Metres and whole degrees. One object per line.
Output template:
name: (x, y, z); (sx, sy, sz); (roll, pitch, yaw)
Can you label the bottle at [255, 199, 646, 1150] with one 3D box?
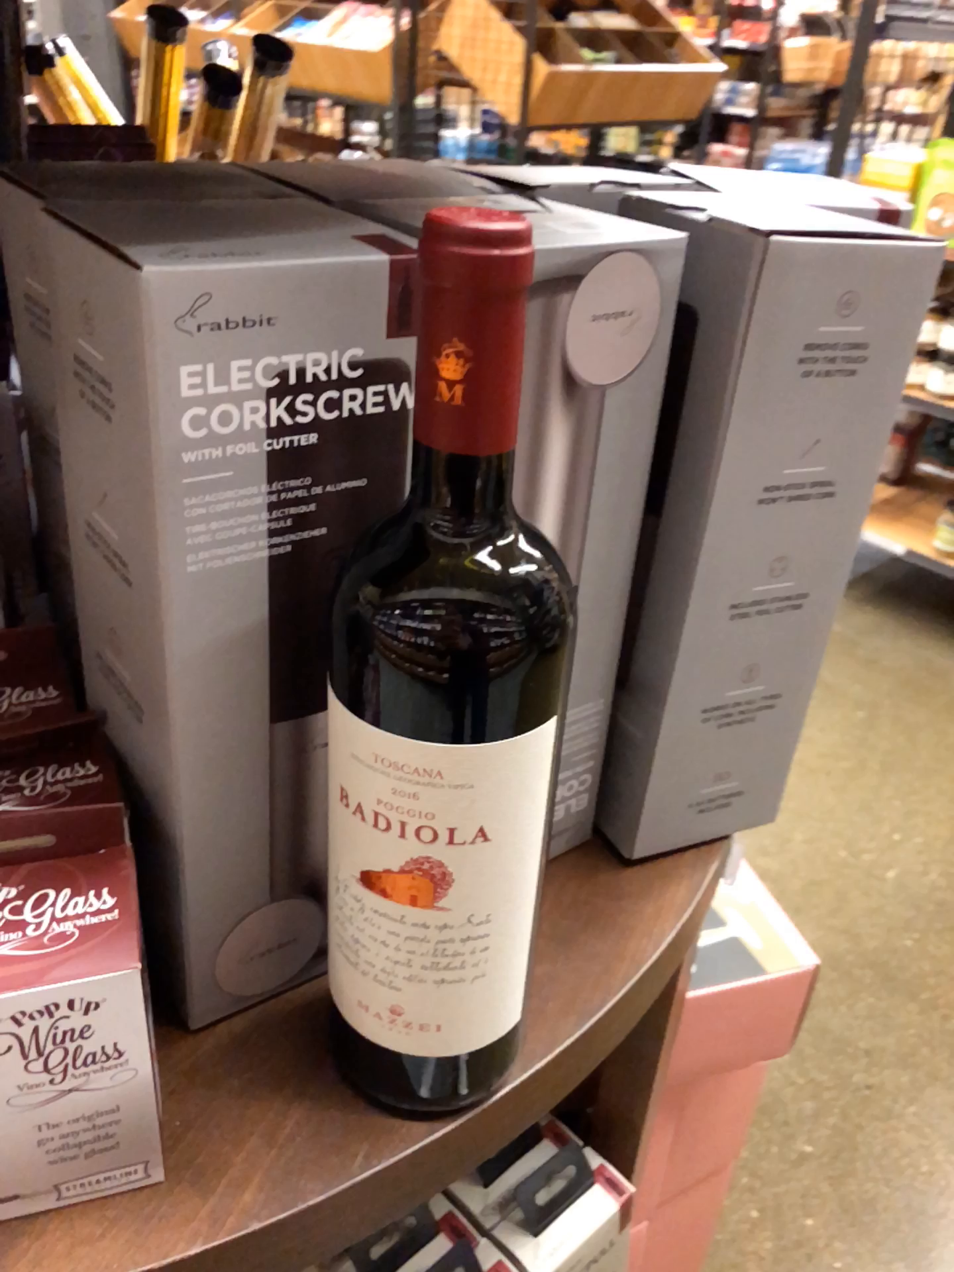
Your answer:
bottle: (-0.011, 0.027, 0.325); (0.076, 0.285, 0.073); (3, 30, -2)
